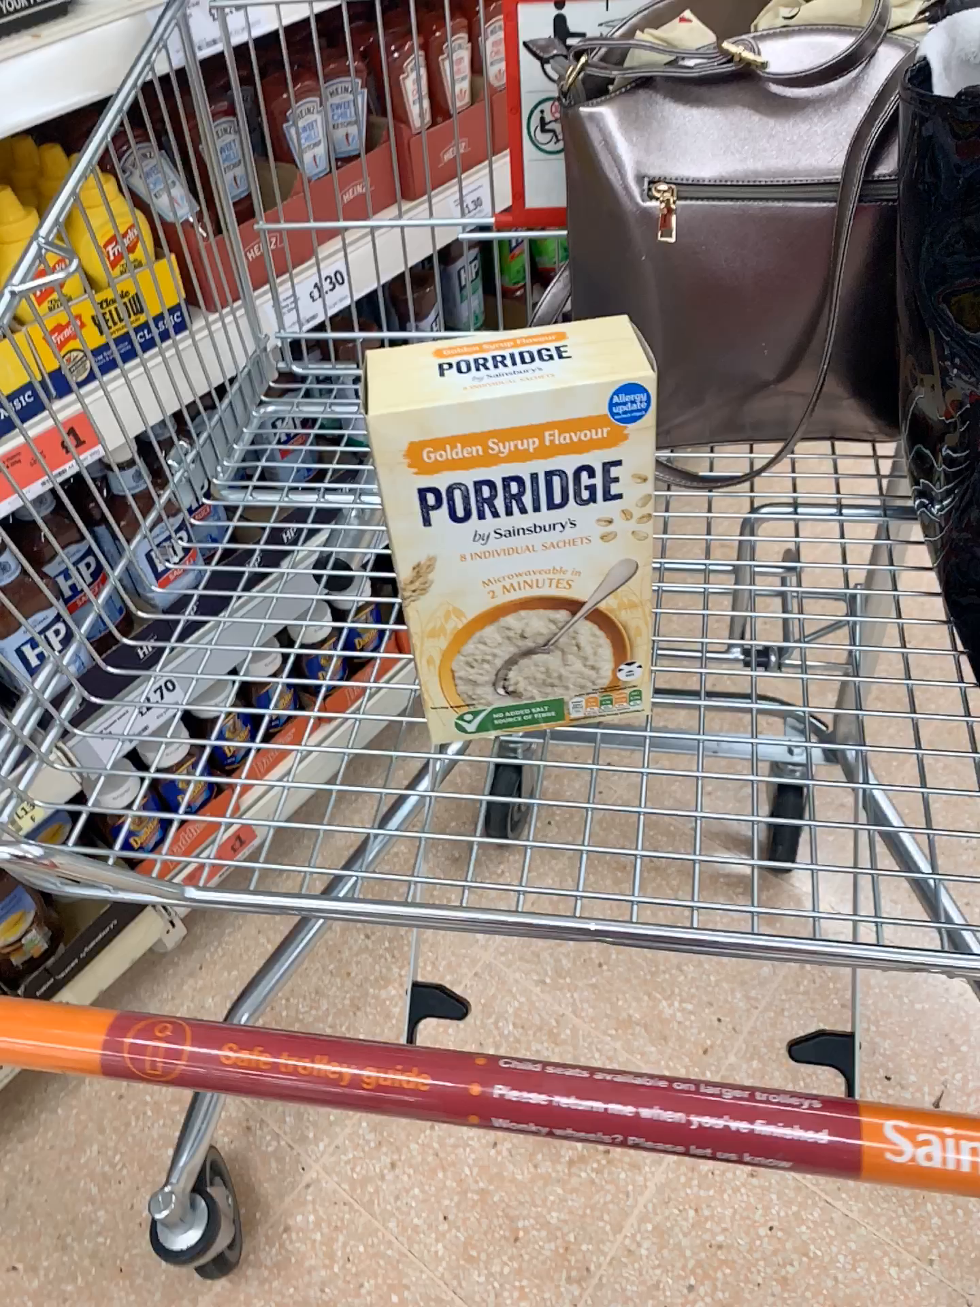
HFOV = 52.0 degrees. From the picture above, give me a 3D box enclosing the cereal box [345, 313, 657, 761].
[{"bbox_3d":[0.010,-0.050,0.512,0.130,0.208,0.071,-8,43,-1],"label":"cereal box"}]
